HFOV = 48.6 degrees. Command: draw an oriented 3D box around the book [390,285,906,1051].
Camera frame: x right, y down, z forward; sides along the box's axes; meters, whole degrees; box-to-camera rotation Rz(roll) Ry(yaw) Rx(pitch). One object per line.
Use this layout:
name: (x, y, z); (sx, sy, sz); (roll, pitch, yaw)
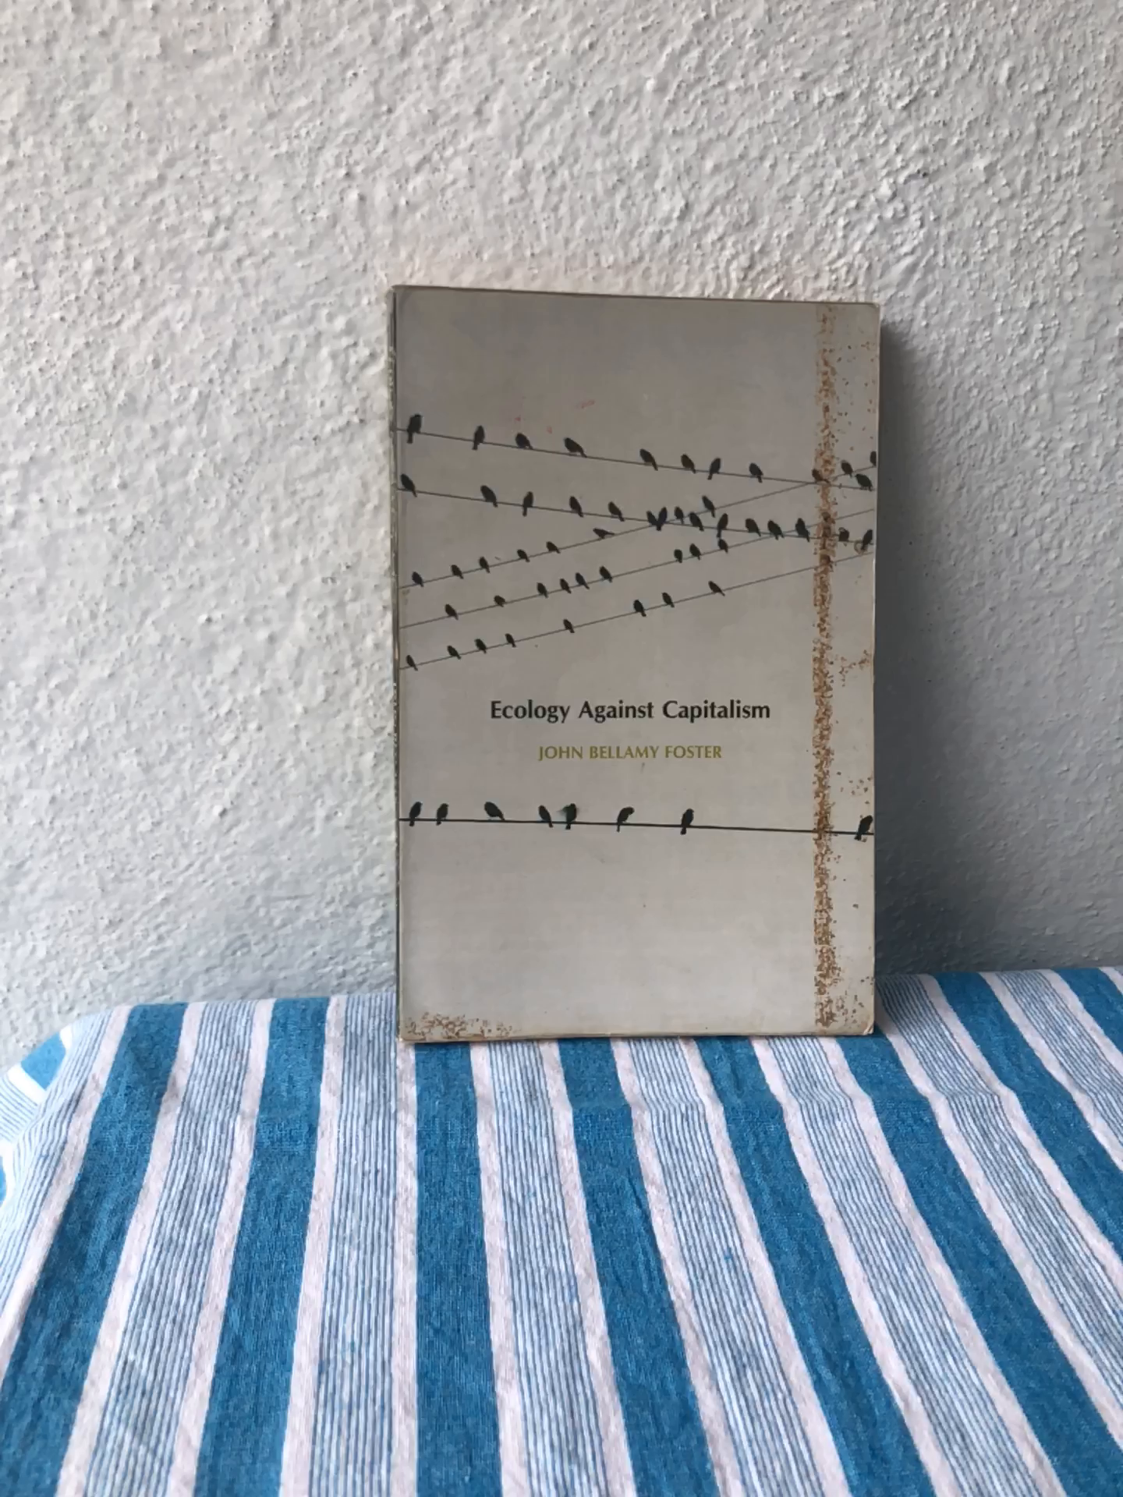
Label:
book: (0.024, -0.023, 0.359); (0.140, 0.210, 0.030); (-1, 0, -2)
